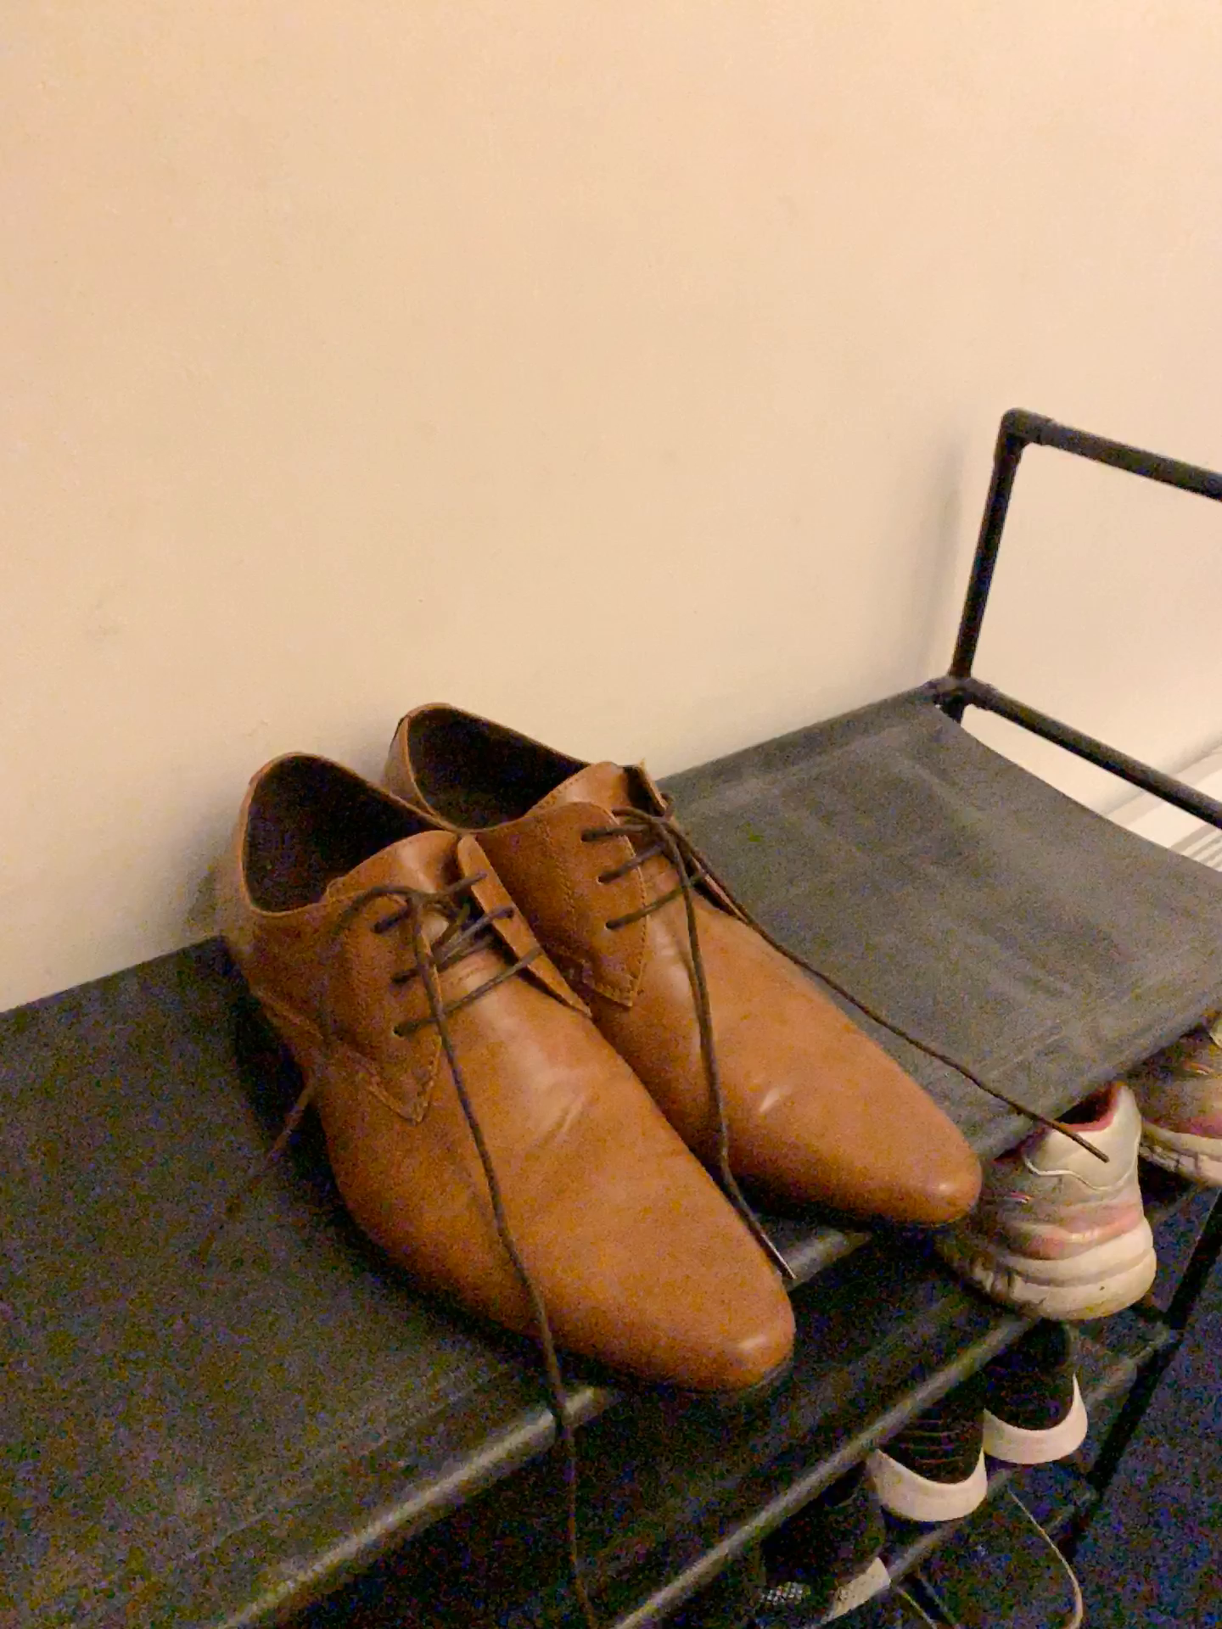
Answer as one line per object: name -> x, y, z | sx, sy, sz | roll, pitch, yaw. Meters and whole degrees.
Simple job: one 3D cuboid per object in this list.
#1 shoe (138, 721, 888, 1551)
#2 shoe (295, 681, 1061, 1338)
shoe -> -0.056, 0.082, 0.449 | 0.100, 0.099, 0.302 | -21, 38, -33
shoe -> 0.007, 0.054, 0.505 | 0.301, 0.099, 0.101 | 27, 39, 35
